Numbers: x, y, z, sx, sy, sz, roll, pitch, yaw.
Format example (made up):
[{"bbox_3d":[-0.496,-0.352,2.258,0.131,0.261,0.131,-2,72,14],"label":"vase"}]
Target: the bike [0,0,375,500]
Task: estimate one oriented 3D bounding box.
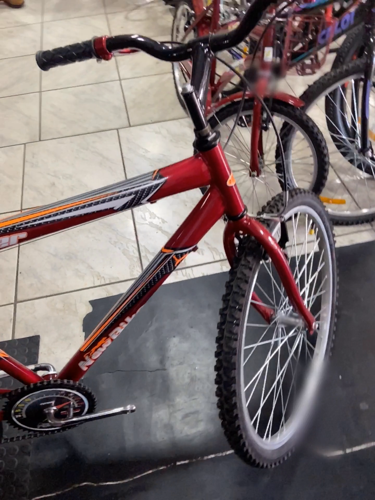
[{"bbox_3d":[-0.390,0.028,0.726,1.583,1.030,0.568,-21,54,-9],"label":"bike"}]
